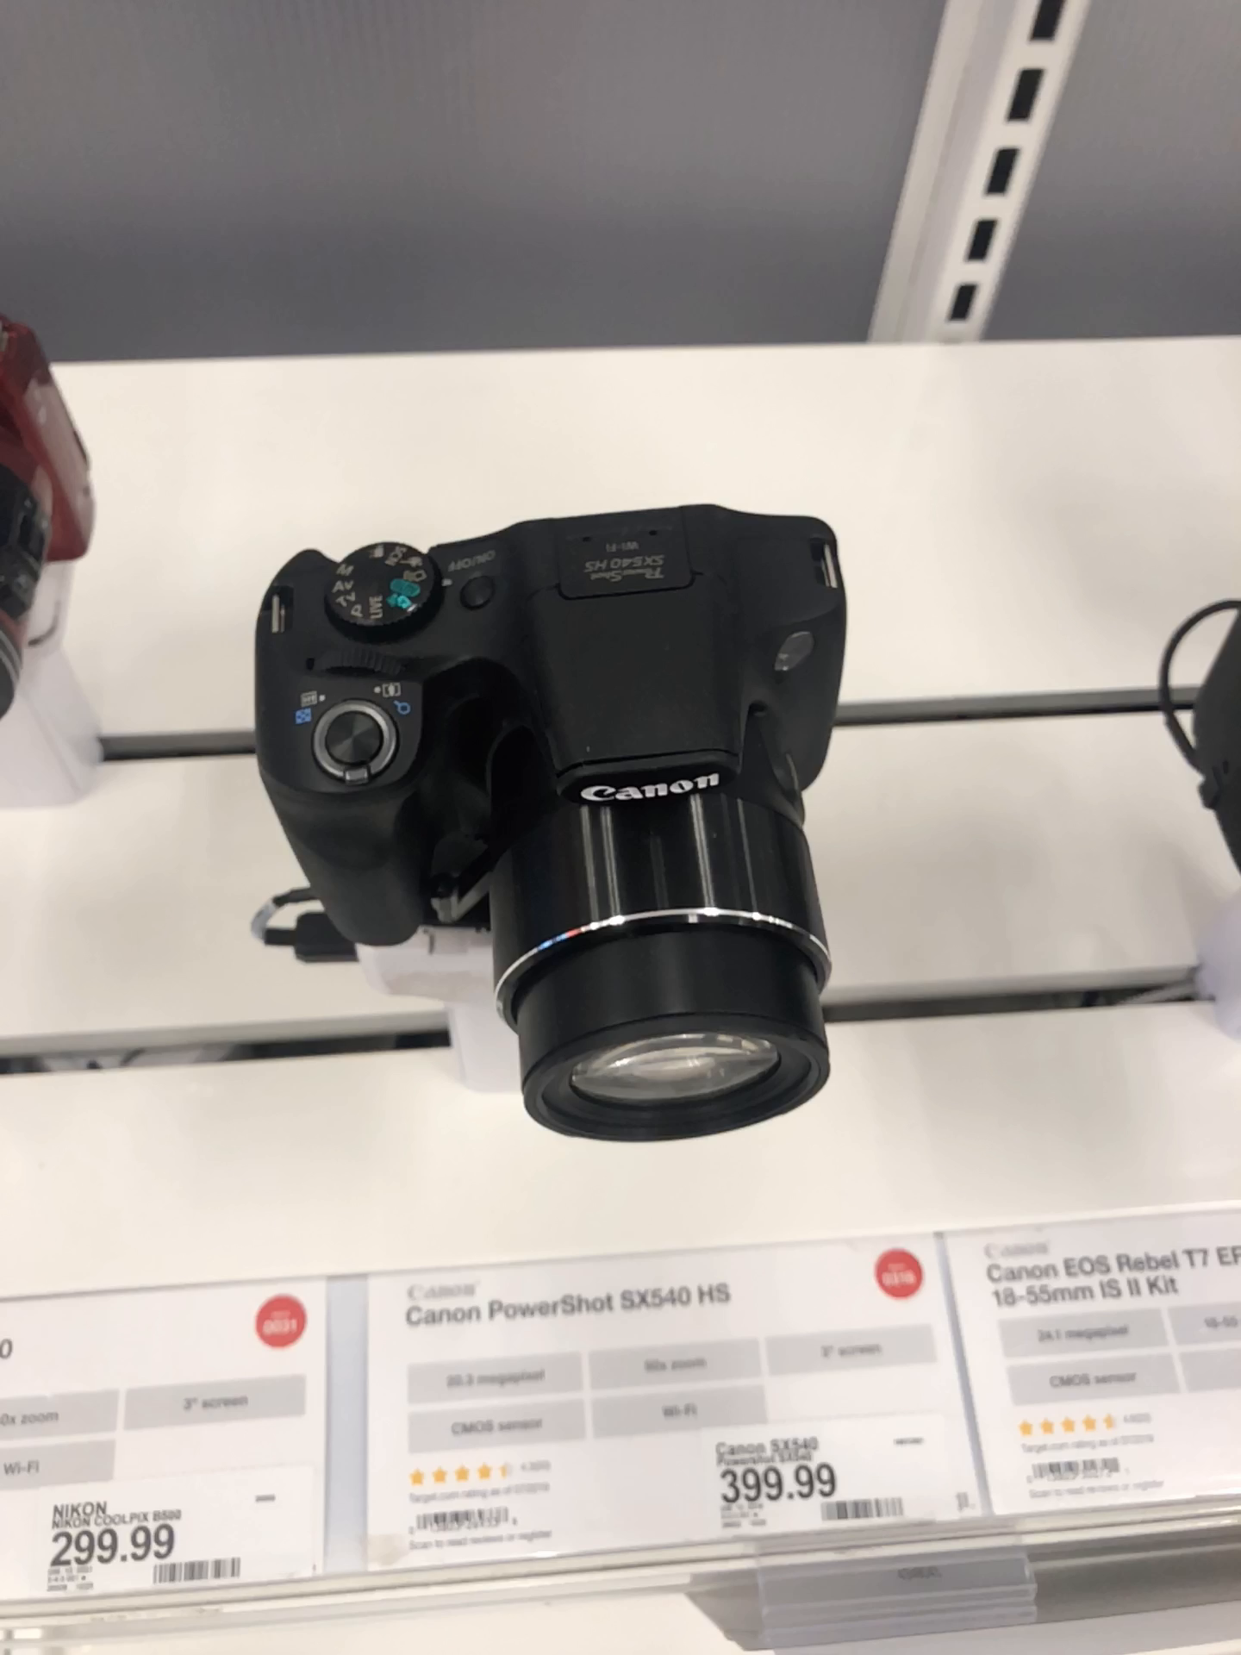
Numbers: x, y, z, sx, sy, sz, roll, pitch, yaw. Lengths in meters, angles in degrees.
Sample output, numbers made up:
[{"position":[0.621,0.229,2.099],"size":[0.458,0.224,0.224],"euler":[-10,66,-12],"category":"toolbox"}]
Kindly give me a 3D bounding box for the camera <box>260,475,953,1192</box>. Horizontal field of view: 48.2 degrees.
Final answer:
[{"position":[-0.009,0.002,0.256],"size":[0.100,0.076,0.099],"euler":[-5,60,-6],"category":"camera"}]
